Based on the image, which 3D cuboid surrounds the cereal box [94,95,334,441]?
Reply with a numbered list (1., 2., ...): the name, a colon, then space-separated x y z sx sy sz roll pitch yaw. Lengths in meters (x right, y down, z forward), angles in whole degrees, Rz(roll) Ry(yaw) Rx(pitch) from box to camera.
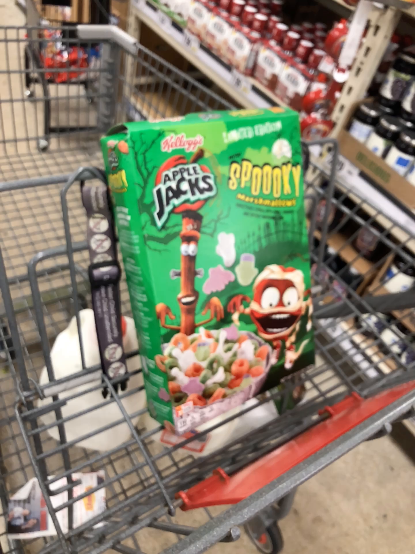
1. cereal box: 0.022 -0.019 0.457 0.200 0.280 0.070 -17 19 -31
